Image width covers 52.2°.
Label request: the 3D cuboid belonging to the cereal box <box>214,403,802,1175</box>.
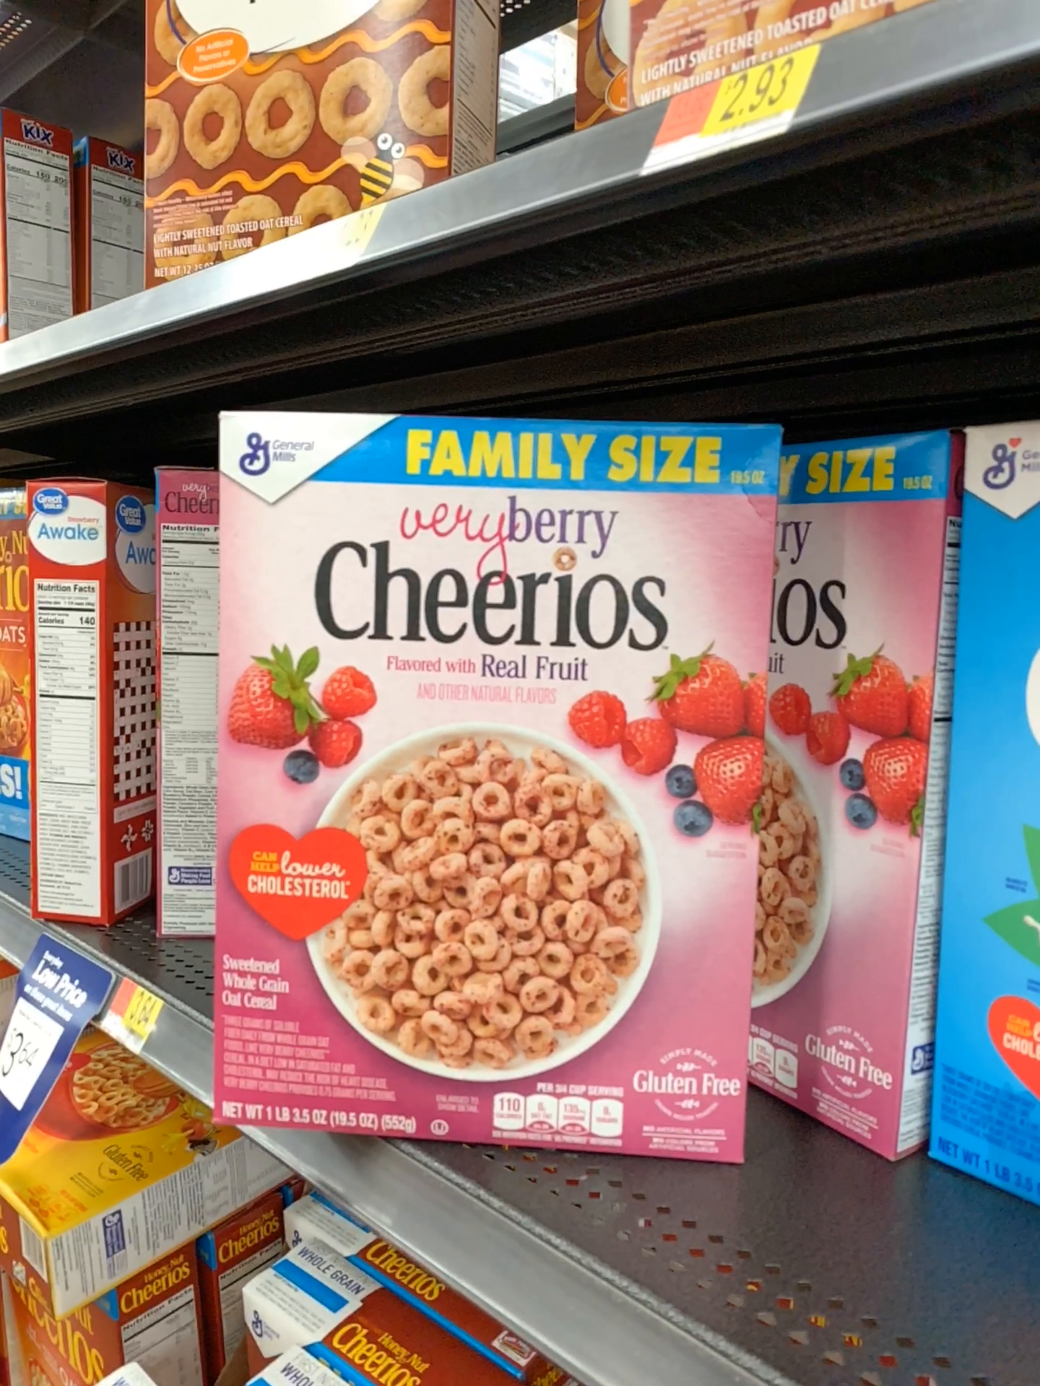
[{"bbox_3d":[-0.008,0.039,0.482,0.240,0.320,0.060,2,4,5],"label":"cereal box"}]
